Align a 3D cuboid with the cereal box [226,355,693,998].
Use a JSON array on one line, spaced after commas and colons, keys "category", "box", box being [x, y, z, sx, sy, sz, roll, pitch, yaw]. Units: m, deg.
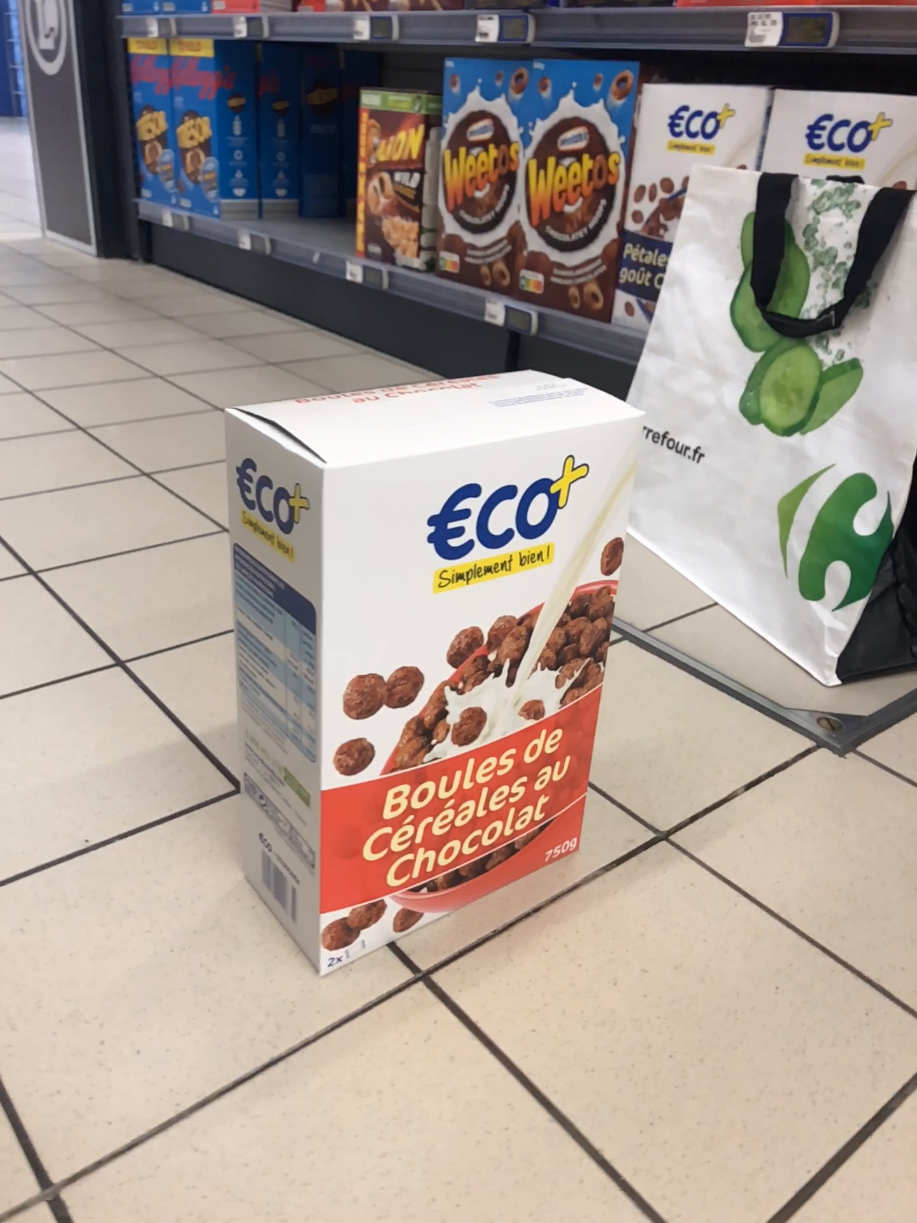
[{"category": "cereal box", "box": [-0.004, 0.027, 0.558, 0.211, 0.298, 0.100, -14, 31, -33]}]
